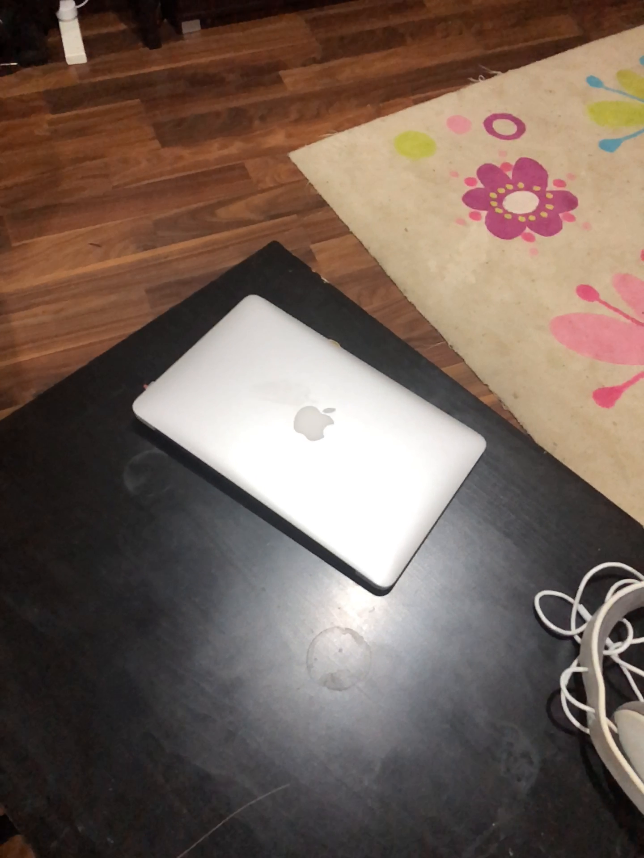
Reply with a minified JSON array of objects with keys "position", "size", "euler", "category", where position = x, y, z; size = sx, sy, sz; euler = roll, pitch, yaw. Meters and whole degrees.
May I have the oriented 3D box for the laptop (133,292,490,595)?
[{"position":[-0.009,0.001,0.708],"size":[0.300,0.011,0.190],"euler":[34,66,12],"category":"laptop"}]
